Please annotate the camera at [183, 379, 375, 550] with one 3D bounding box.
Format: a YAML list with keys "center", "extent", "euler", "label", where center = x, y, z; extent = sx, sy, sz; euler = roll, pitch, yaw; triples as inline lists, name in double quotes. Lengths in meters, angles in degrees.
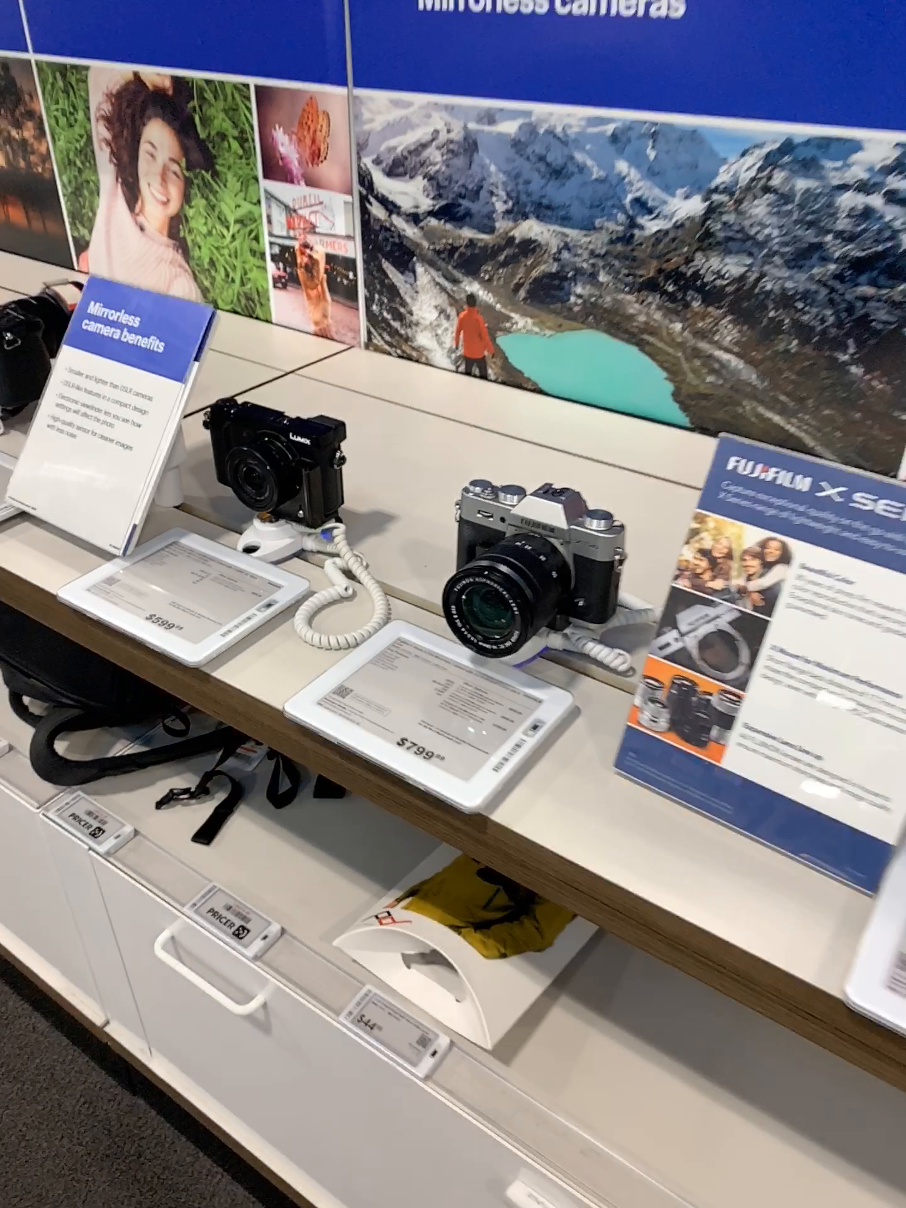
- center: [-0.130, -0.109, 0.707]
  extent: [0.120, 0.080, 0.070]
  euler: [21, 40, 27]
  label: "camera"

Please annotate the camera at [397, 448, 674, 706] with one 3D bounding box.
- center: [0.051, -0.023, 0.575]
  extent: [0.120, 0.080, 0.120]
  euler: [21, 40, 27]
  label: "camera"
